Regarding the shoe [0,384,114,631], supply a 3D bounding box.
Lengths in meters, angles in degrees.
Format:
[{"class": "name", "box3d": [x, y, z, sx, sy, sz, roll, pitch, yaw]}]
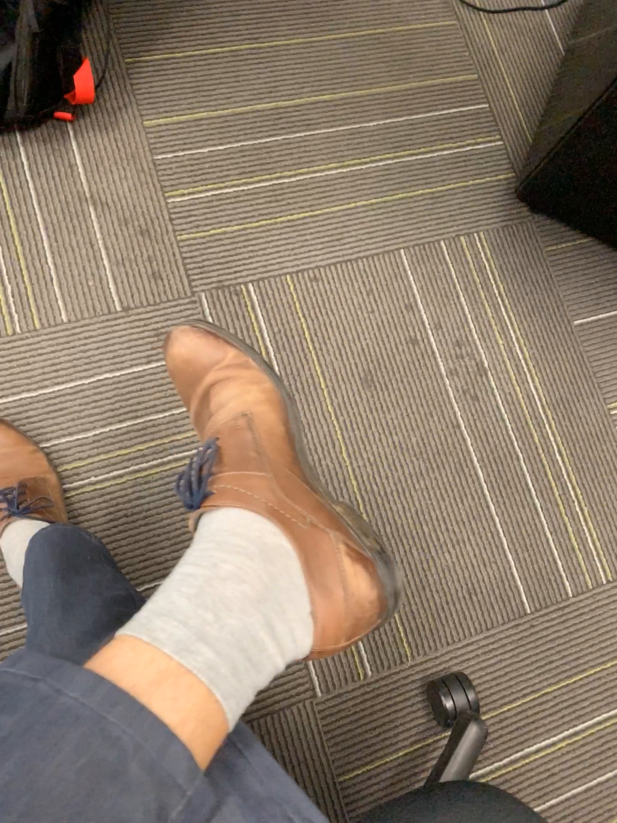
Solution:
[{"class": "shoe", "box3d": [-0.365, 0.118, 0.792, 0.112, 0.068, 0.276, -29, 84, -16]}]

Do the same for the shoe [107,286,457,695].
[{"class": "shoe", "box3d": [-0.031, 0.057, 0.497, 0.082, 0.114, 0.294, -26, 76, -45]}]
